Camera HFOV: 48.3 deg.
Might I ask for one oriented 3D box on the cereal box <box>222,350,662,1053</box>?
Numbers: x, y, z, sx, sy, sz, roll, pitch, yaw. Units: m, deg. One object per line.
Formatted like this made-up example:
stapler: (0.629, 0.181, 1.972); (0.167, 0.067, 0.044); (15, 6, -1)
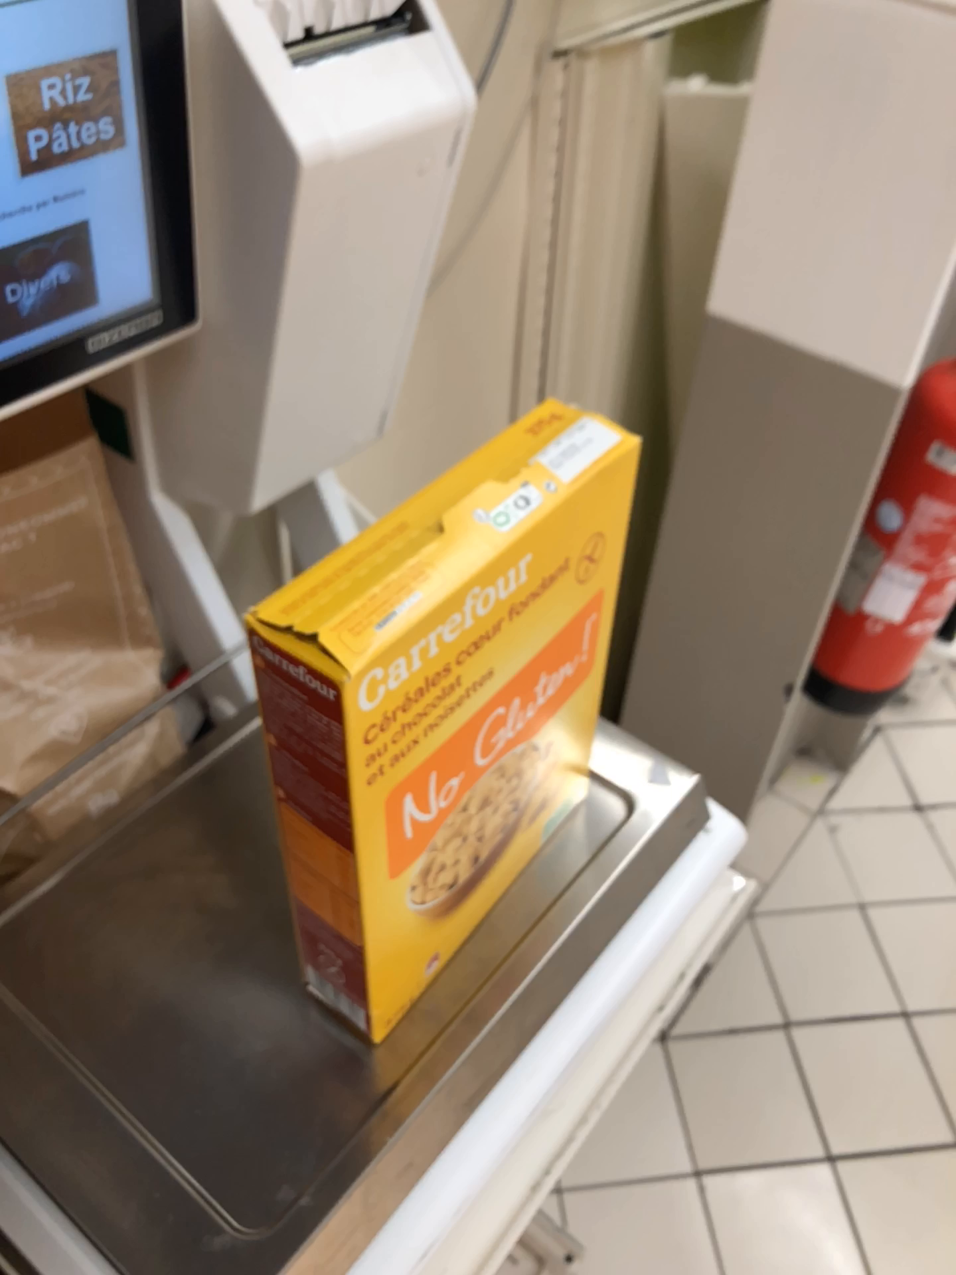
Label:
cereal box: (-0.008, 0.035, 0.499); (0.060, 0.268, 0.201); (27, 48, 24)
